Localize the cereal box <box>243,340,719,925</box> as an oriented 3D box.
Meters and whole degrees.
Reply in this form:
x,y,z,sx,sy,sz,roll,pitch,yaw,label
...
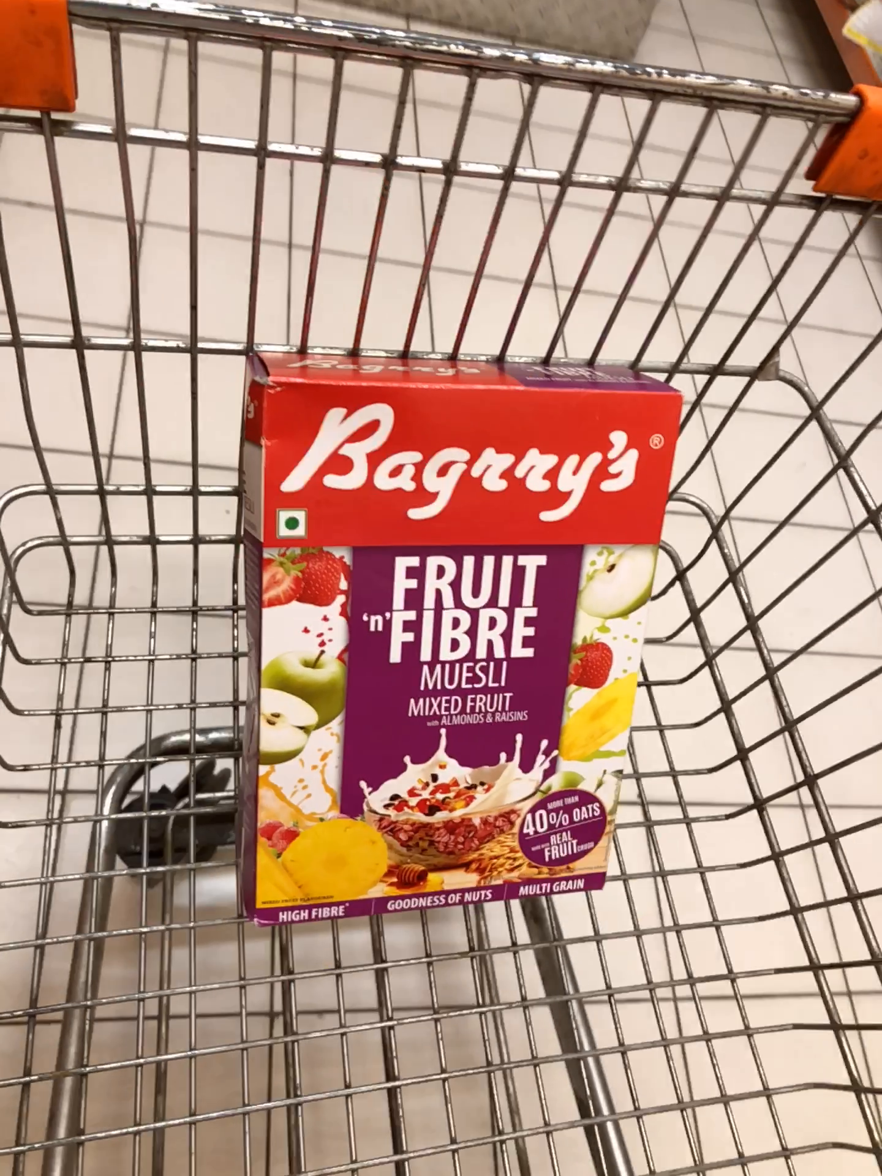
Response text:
x,y,z,sx,sy,sz,roll,pitch,yaw,label
0.008,0.020,0.459,0.190,0.249,0.070,-1,19,-16,cereal box
